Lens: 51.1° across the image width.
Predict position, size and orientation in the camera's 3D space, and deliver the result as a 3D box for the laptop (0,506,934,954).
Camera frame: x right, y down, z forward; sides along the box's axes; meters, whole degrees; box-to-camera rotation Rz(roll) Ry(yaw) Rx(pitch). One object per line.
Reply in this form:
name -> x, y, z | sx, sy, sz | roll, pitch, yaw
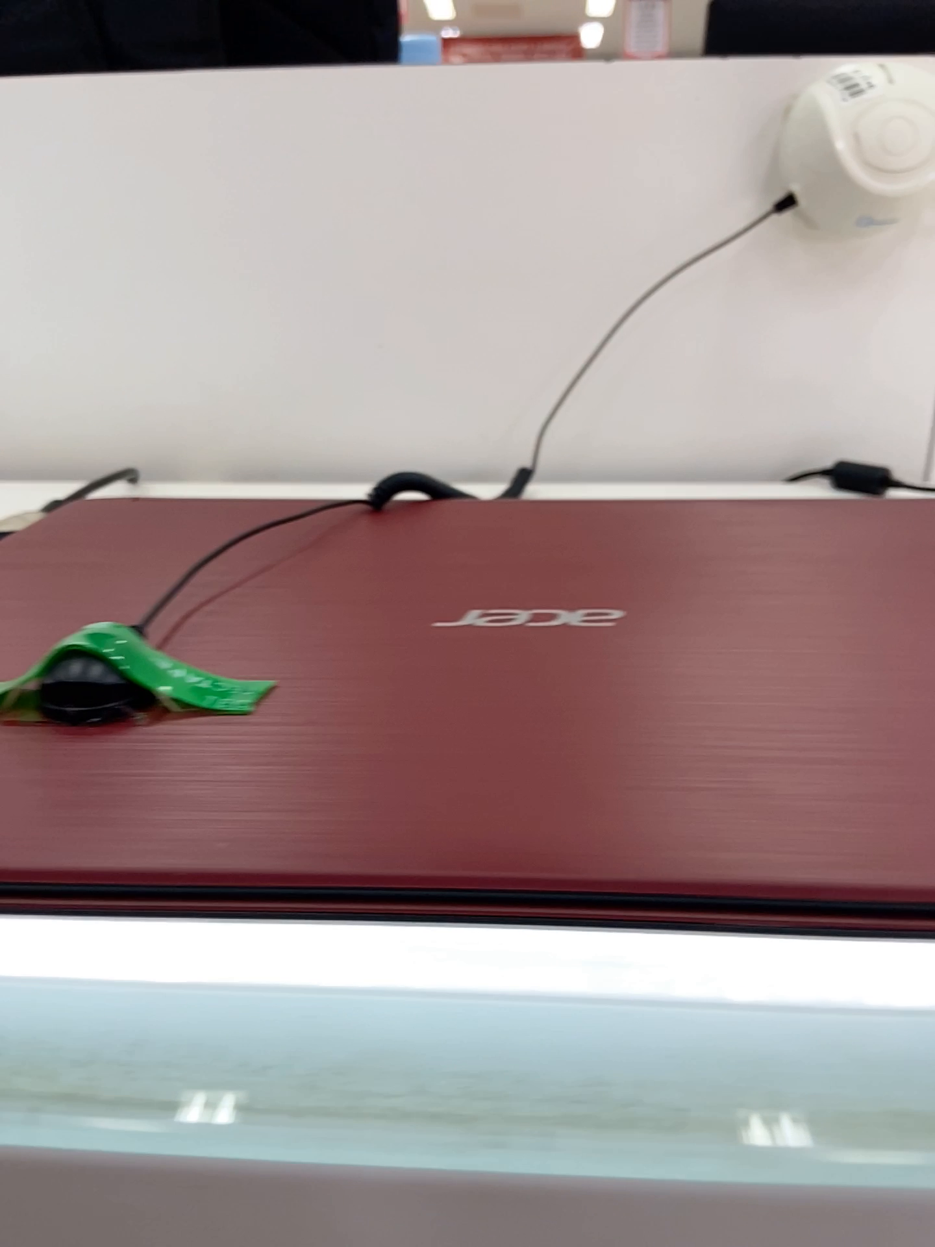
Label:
laptop -> 0.020, 0.001, 0.287 | 0.367, 0.006, 0.263 | 1, 20, 3
